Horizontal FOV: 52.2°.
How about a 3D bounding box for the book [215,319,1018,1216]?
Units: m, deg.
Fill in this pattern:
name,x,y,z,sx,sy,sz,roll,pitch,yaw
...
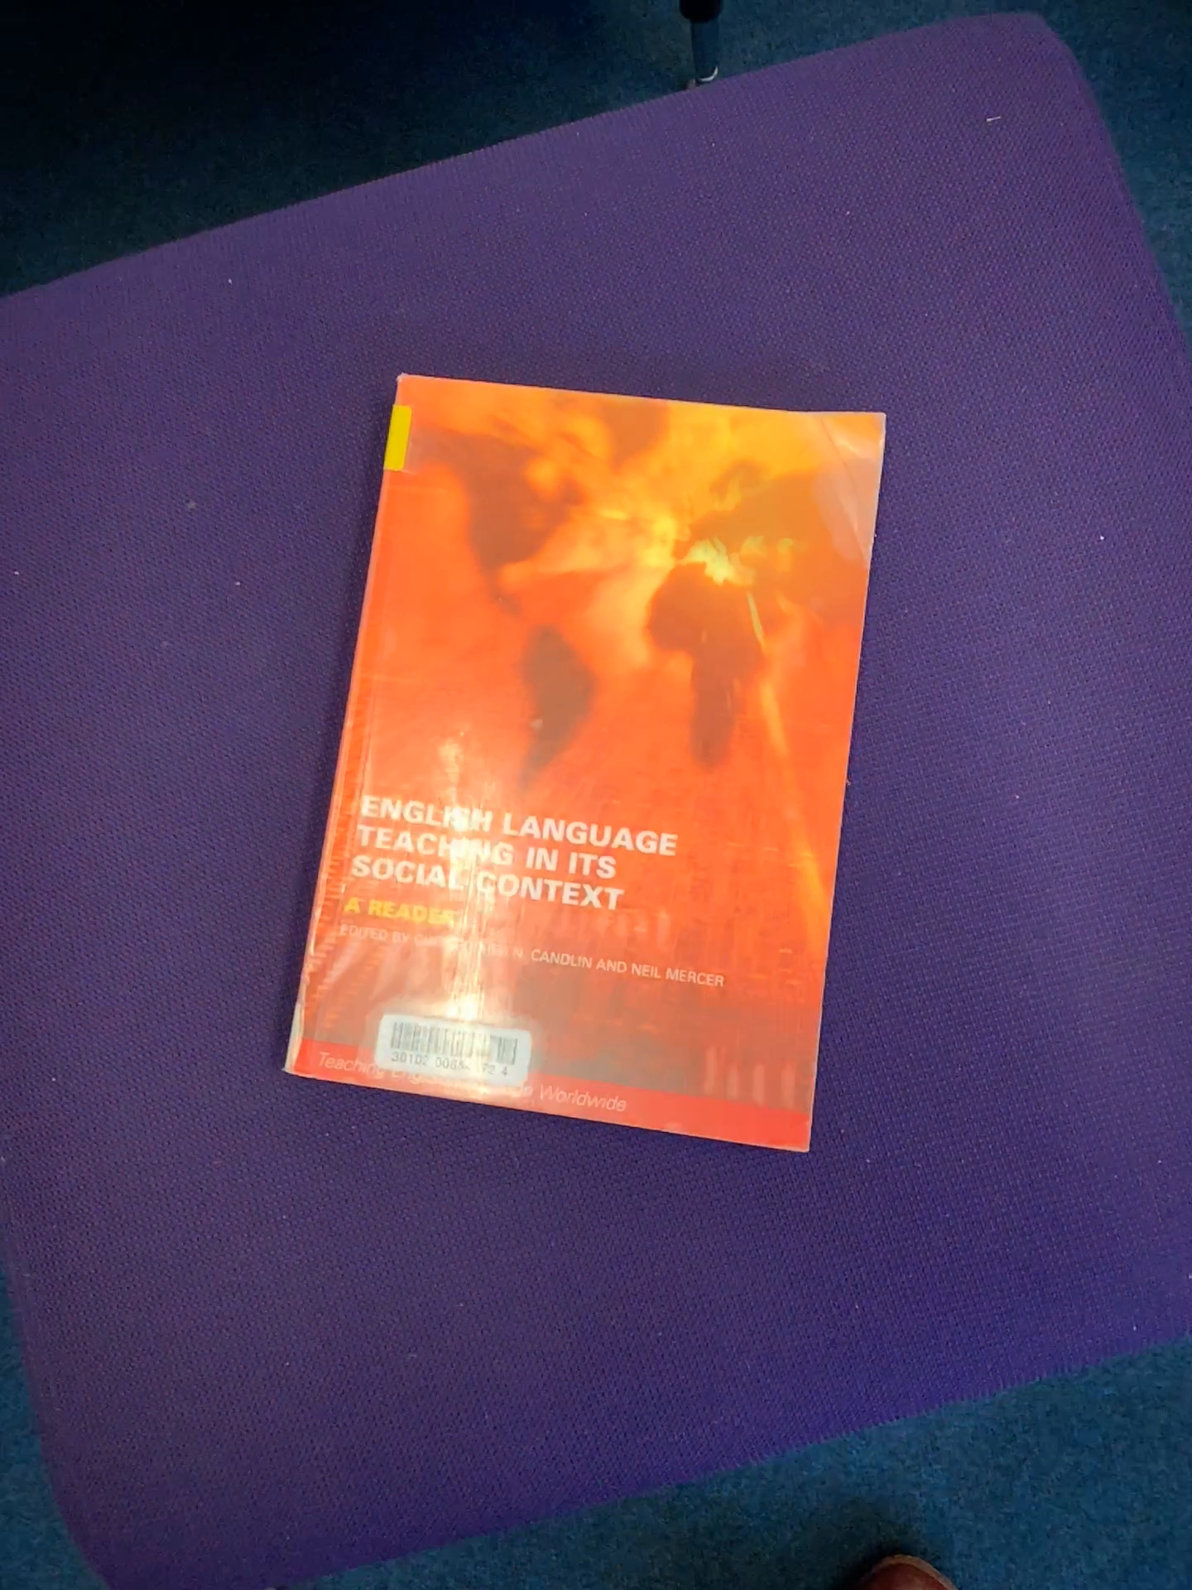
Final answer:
name,x,y,z,sx,sy,sz,roll,pitch,yaw
book,0.013,-0.018,0.424,0.220,0.050,0.270,9,79,7
